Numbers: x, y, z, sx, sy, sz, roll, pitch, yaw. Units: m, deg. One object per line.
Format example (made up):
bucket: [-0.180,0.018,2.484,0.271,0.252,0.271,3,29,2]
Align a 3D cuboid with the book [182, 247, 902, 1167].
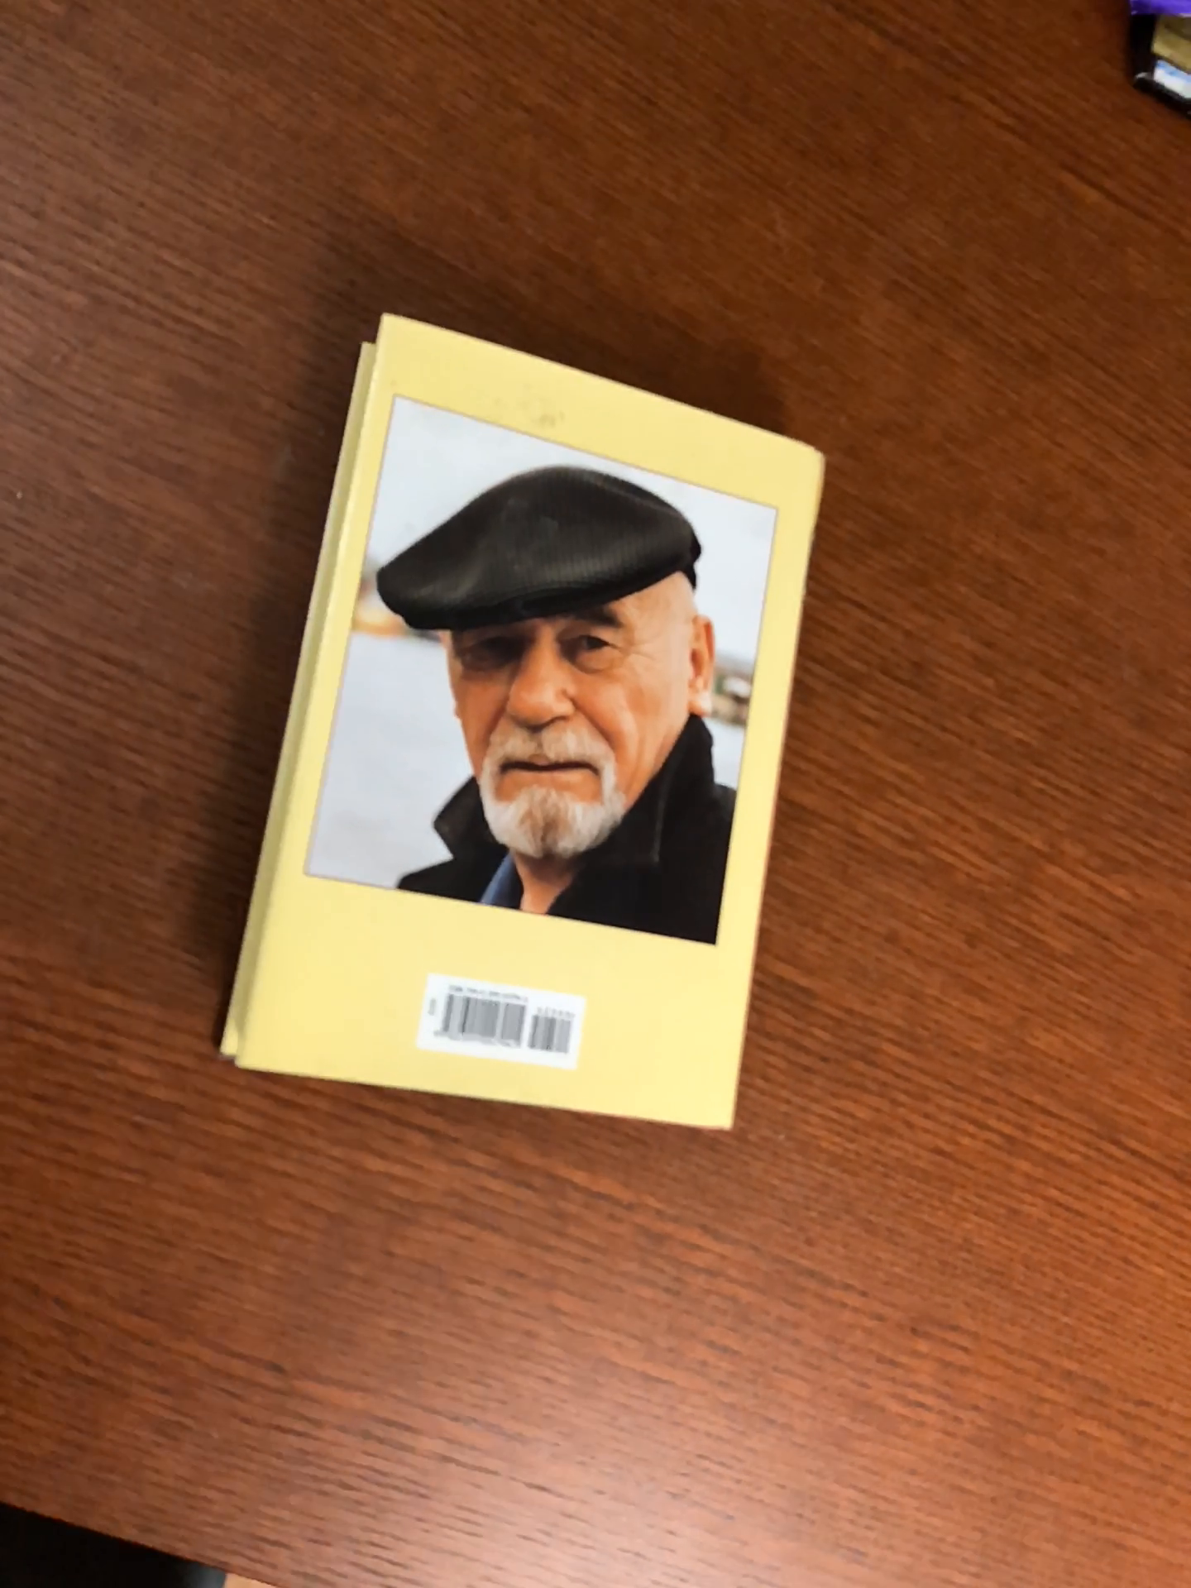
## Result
book: [-0.007,-0.023,0.421,0.190,0.030,0.250,12,79,-18]
